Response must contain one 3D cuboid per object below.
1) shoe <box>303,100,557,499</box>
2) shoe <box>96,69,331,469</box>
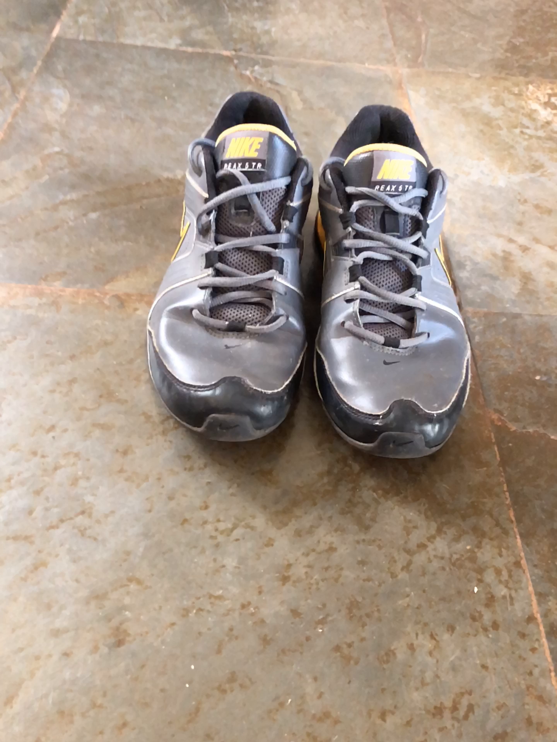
[{"bbox_3d":[0.071,-0.056,0.384,0.100,0.099,0.242,5,51,-3],"label":"shoe"},{"bbox_3d":[-0.029,-0.074,0.377,0.100,0.099,0.242,5,51,-3],"label":"shoe"}]
